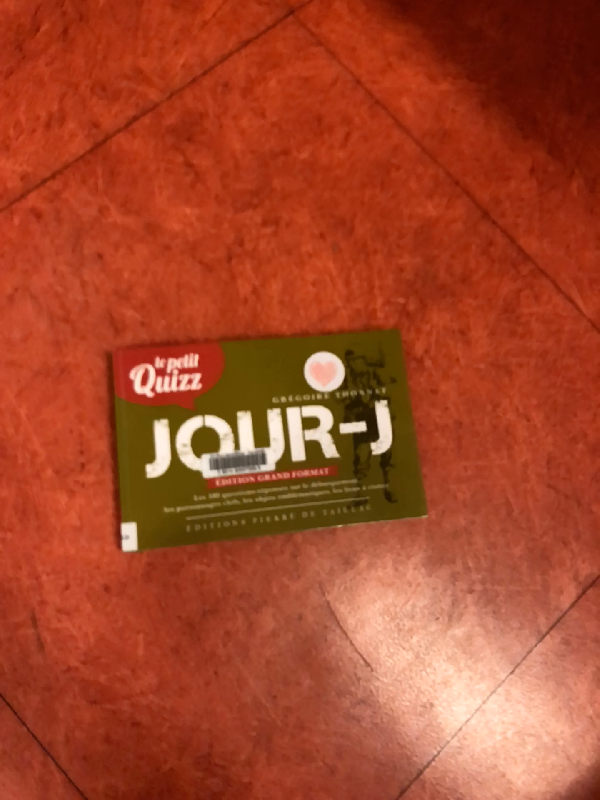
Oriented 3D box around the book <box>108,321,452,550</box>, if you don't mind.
[{"bbox_3d":[-0.013,0.020,0.456,0.218,0.016,0.137,-5,77,-10],"label":"book"}]
